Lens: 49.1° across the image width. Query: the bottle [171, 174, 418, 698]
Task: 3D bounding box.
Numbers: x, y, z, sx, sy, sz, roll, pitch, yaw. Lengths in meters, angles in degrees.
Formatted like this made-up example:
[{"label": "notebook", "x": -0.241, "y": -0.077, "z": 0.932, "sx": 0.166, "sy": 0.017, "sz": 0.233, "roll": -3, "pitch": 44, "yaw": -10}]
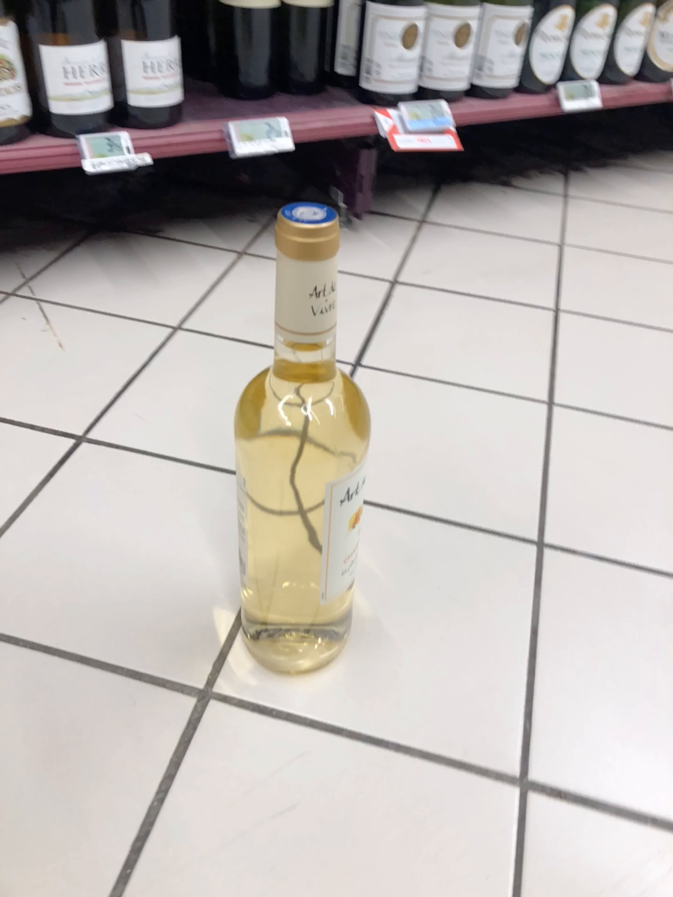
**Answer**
[{"label": "bottle", "x": -0.023, "y": 0.012, "z": 0.415, "sx": 0.090, "sy": 0.288, "sz": 0.091, "roll": 3, "pitch": 39, "yaw": -3}]
